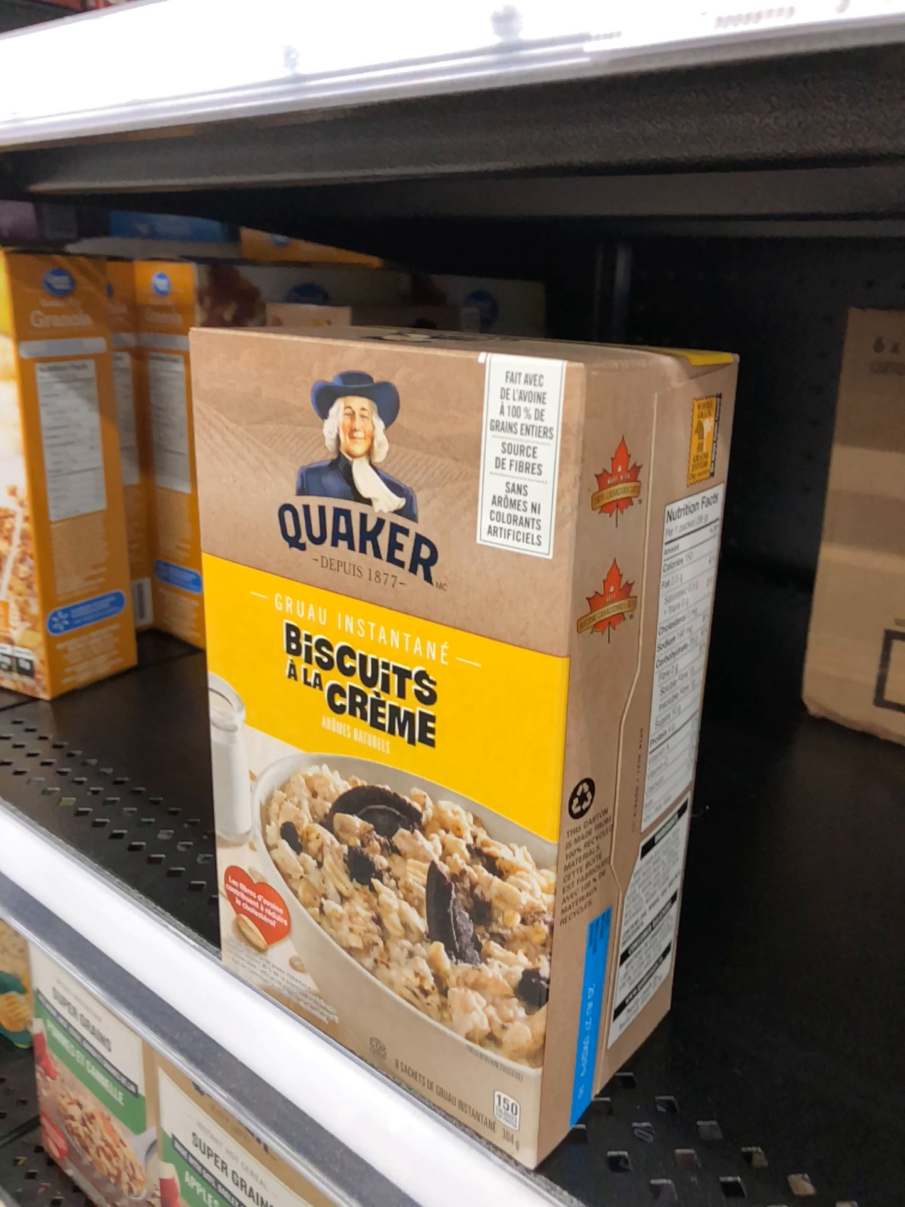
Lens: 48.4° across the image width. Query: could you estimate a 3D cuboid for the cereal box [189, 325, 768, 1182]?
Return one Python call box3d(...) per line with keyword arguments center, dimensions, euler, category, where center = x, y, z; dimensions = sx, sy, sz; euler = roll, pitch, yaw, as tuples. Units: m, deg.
box3d(center=(0.002, 0.025, 0.277), dimensions=(0.120, 0.189, 0.080), euler=(16, 22, 37), category="cereal box")
